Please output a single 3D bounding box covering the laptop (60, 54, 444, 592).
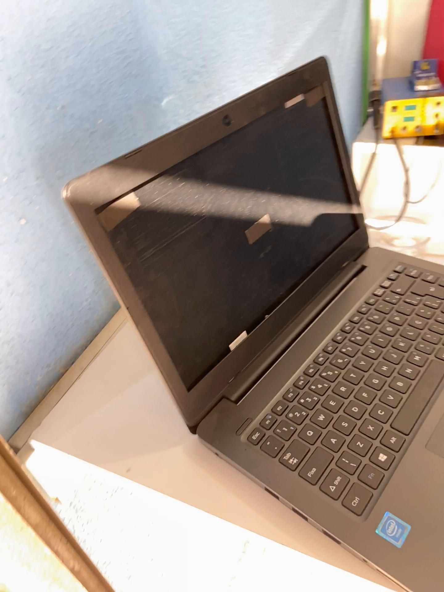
[{"bbox_3d":[0.131,-0.028,0.374,0.310,0.214,0.339,24,49,35],"label":"laptop"}]
